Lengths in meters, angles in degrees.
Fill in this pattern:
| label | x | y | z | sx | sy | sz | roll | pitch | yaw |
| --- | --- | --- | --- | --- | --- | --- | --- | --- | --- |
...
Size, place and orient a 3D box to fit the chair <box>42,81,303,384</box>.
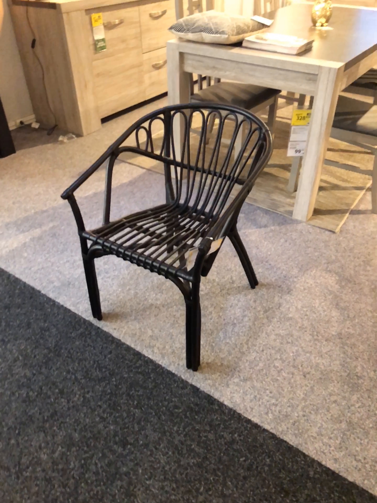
| label | x | y | z | sx | sy | sz | roll | pitch | yaw |
| --- | --- | --- | --- | --- | --- | --- | --- | --- | --- |
| chair | -0.027 | -0.098 | 1.423 | 0.530 | 0.735 | 0.564 | 23 | 42 | 28 |
